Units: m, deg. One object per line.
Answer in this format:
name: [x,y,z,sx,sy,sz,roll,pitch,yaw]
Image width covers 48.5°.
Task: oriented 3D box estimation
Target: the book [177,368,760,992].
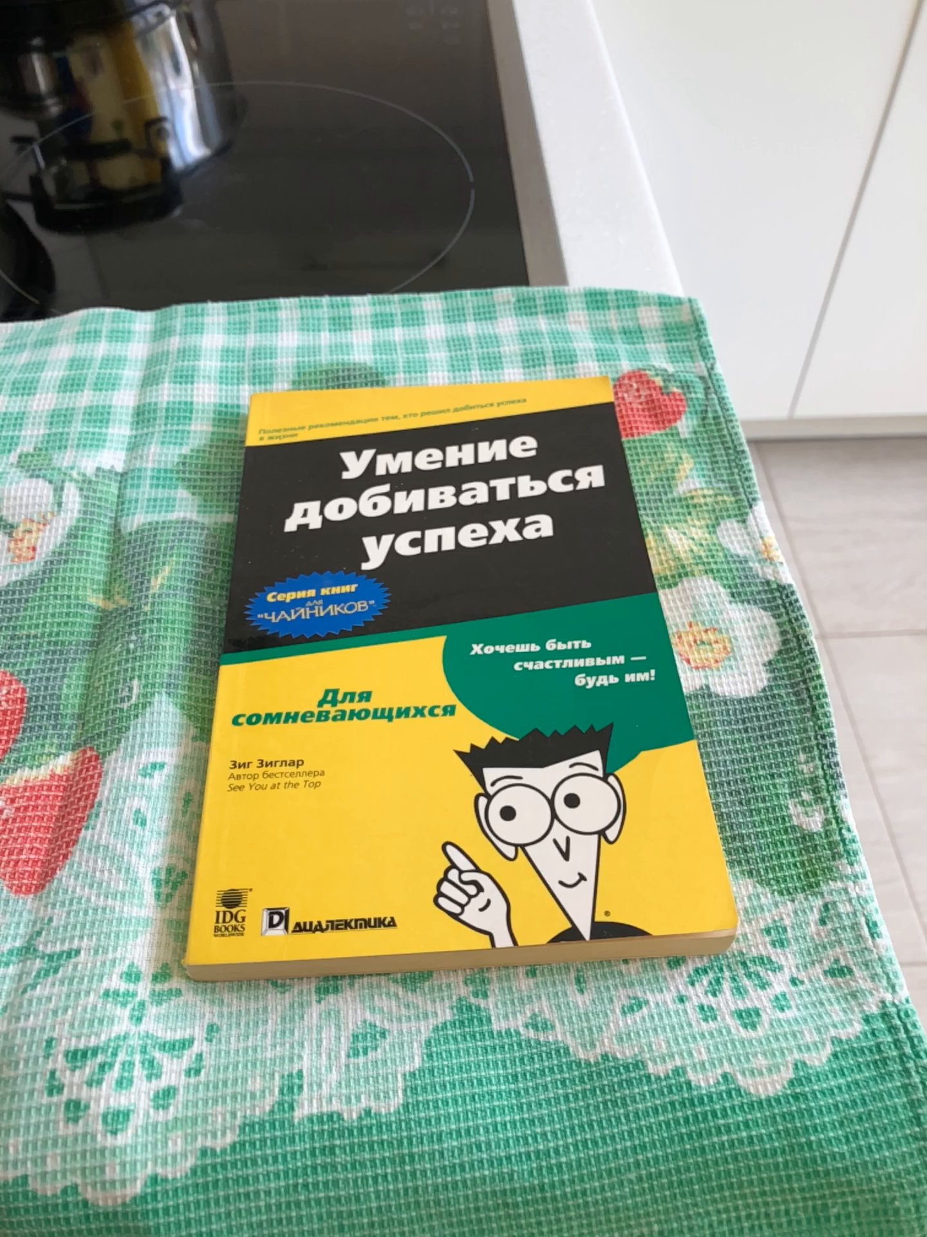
book: [-0.004,0.001,0.260,0.113,0.017,0.173,-4,51,0]
